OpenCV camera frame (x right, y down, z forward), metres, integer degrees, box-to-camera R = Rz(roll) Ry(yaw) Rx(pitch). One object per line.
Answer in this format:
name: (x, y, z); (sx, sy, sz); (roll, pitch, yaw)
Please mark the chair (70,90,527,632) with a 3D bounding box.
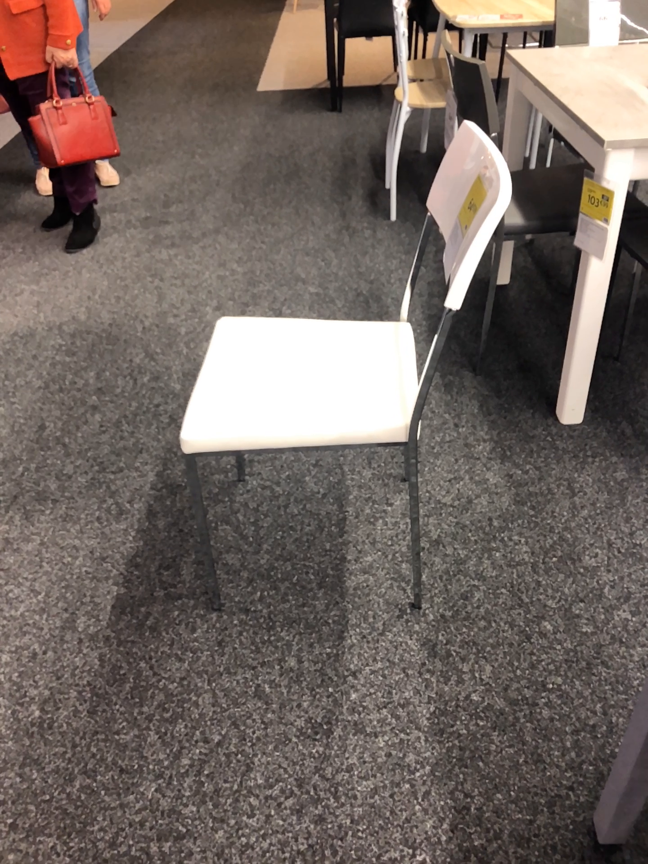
chair: (-0.008, -0.105, 1.284); (0.540, 0.815, 0.503); (-1, 38, 3)
